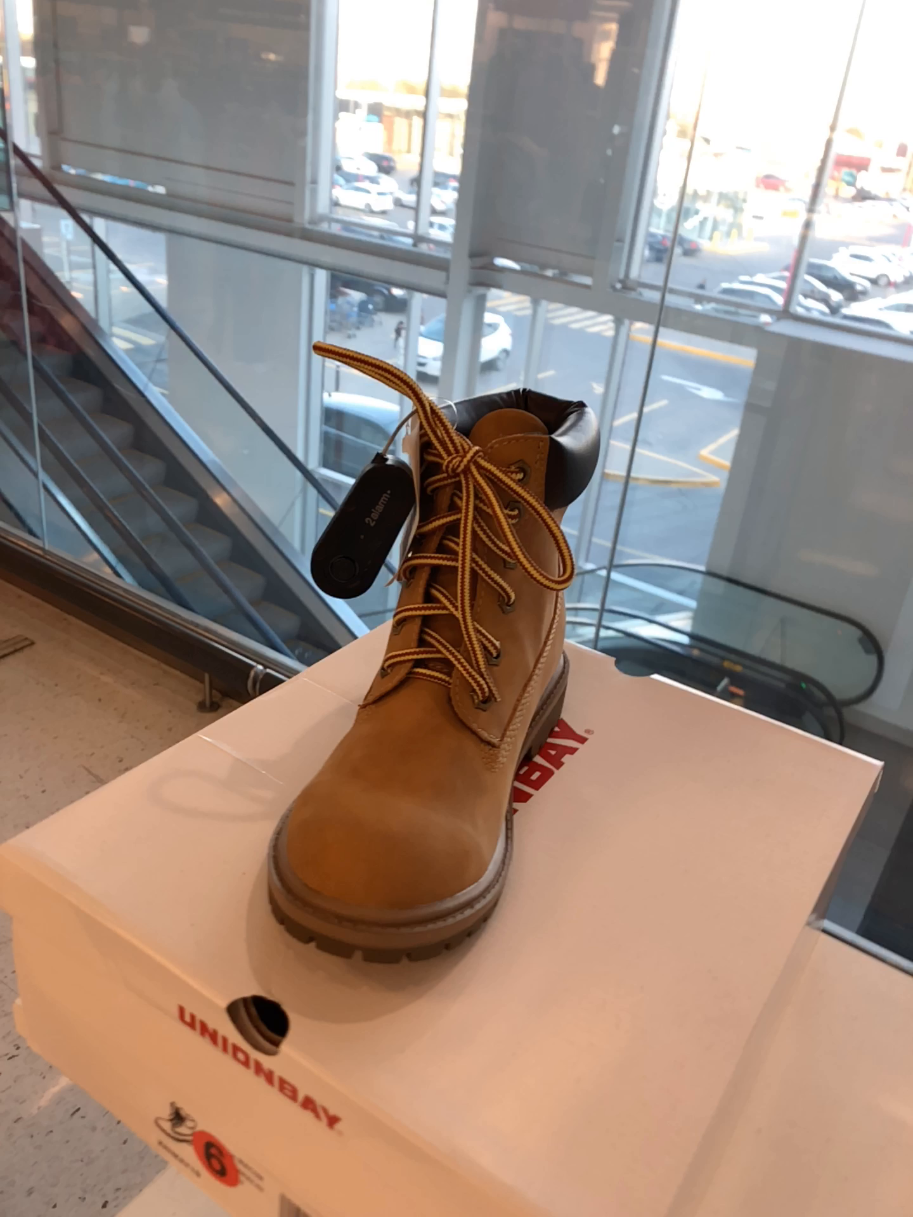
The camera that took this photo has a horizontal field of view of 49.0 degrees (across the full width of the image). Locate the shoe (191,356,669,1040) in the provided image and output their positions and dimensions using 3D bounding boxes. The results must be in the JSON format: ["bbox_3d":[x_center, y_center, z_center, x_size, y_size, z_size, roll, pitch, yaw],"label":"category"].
[{"bbox_3d":[0.002,0.011,0.421,0.107,0.169,0.242,14,28,14],"label":"shoe"}]
